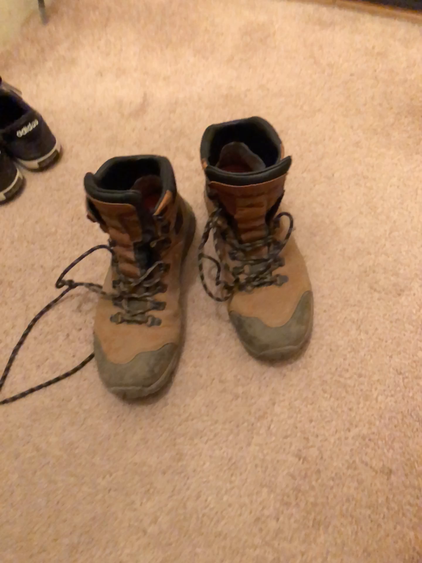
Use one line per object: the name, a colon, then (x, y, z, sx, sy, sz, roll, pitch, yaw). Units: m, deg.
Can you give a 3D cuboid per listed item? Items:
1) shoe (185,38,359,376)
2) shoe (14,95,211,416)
shoe: (0.059, -0.078, 0.558, 0.120, 0.229, 0.312, -8, 62, 3)
shoe: (-0.085, -0.023, 0.560, 0.120, 0.219, 0.311, 1, 63, 8)
